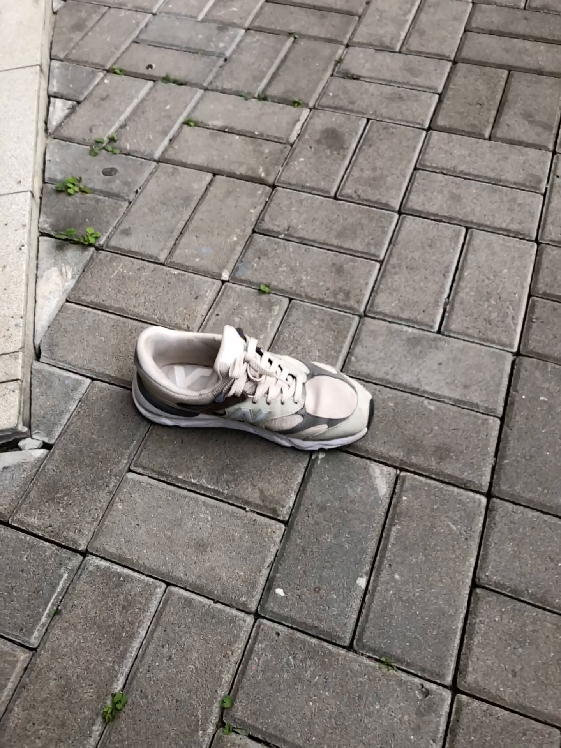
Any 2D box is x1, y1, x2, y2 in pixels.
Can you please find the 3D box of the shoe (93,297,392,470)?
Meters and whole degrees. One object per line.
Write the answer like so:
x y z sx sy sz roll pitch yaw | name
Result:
-0.035 0.009 0.702 0.300 0.109 0.121 7 60 10 | shoe
